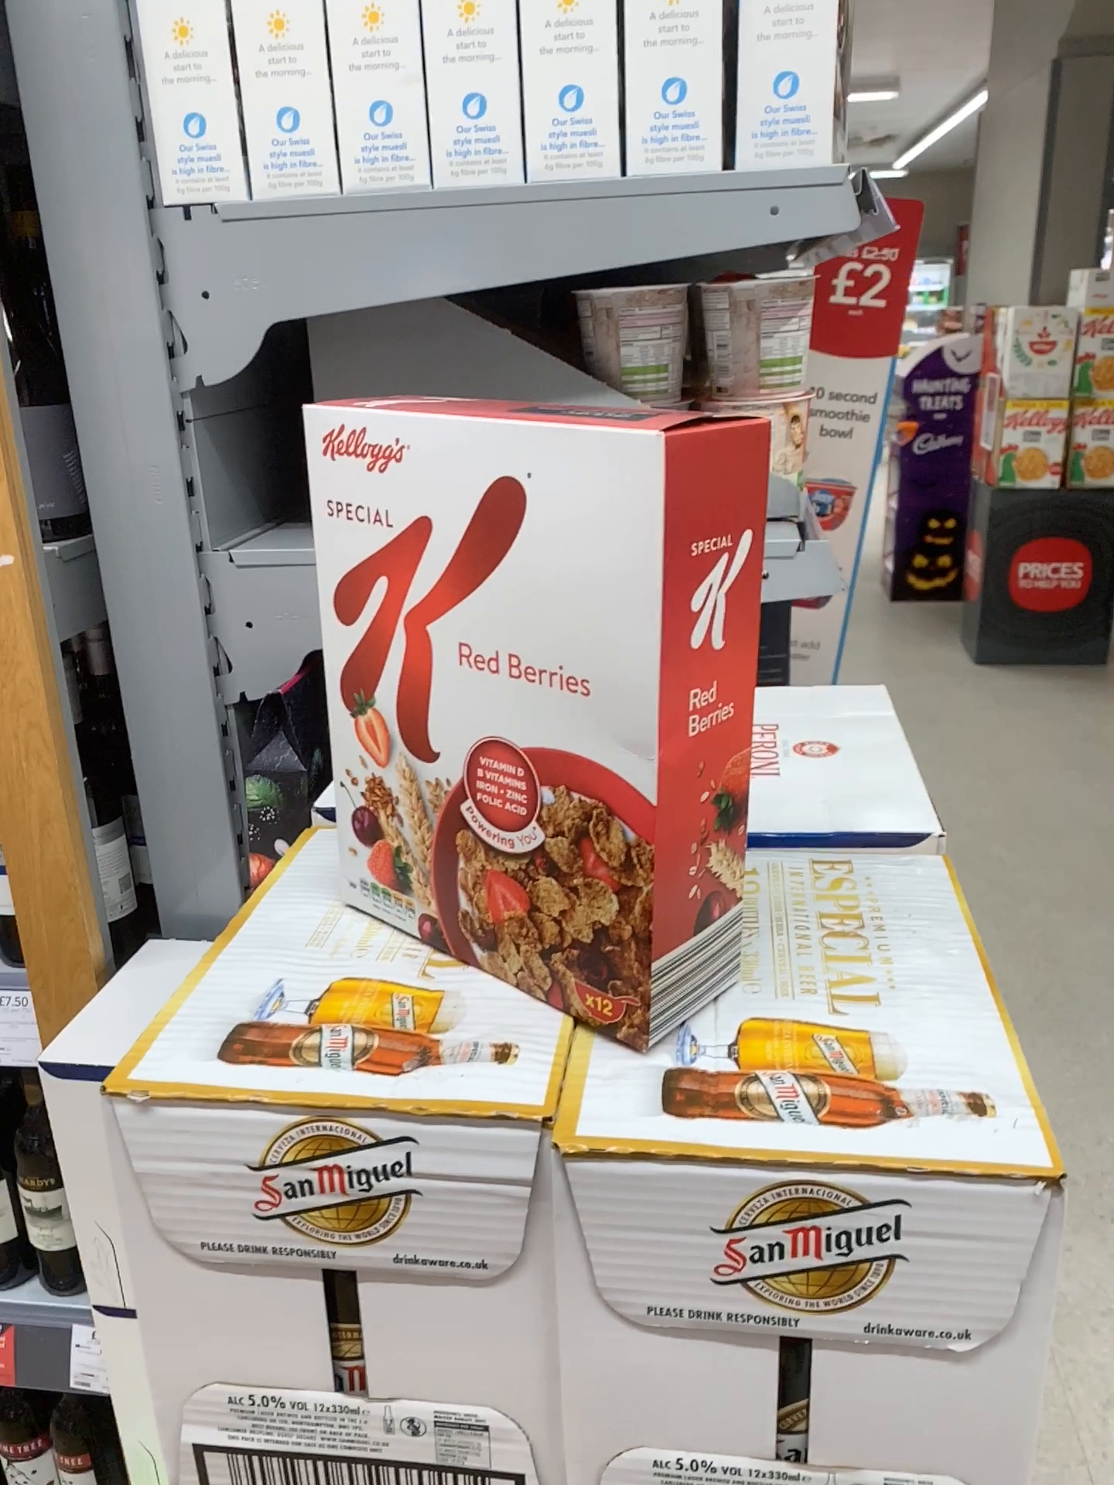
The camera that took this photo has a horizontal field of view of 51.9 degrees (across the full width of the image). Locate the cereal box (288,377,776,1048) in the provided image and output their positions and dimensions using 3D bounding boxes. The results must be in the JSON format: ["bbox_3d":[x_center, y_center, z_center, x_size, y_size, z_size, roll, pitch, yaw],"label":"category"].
[{"bbox_3d":[-0.017,-0.028,0.485,0.201,0.238,0.070,16,24,41],"label":"cereal box"}]
